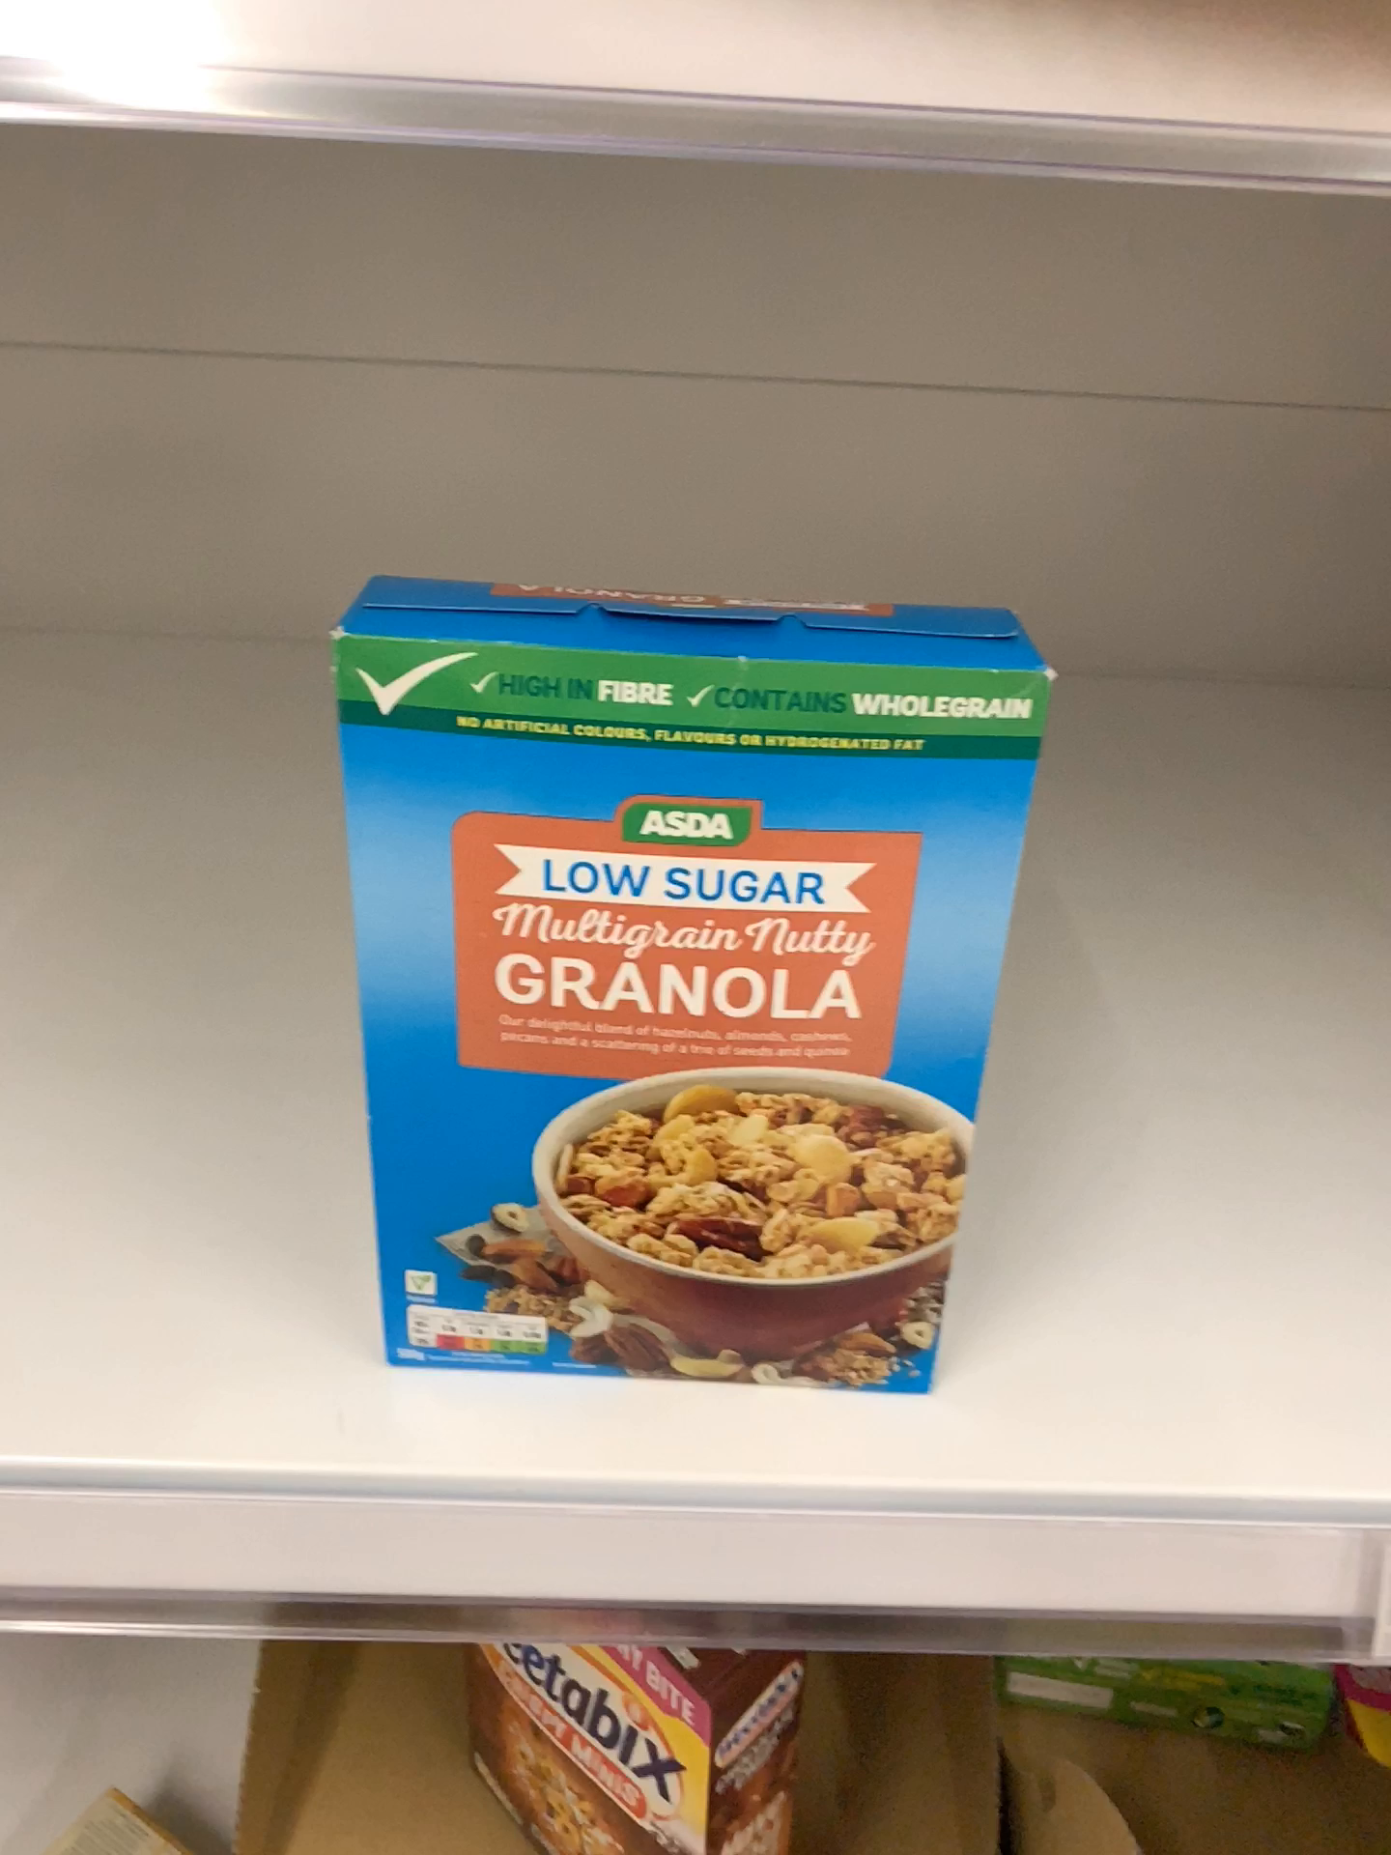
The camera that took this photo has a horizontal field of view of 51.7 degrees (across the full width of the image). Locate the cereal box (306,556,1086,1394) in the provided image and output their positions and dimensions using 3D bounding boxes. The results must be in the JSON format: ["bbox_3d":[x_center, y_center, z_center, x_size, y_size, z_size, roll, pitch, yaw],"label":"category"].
[{"bbox_3d":[-0.005,0.024,0.436,0.190,0.248,0.061,3,29,0],"label":"cereal box"}]
